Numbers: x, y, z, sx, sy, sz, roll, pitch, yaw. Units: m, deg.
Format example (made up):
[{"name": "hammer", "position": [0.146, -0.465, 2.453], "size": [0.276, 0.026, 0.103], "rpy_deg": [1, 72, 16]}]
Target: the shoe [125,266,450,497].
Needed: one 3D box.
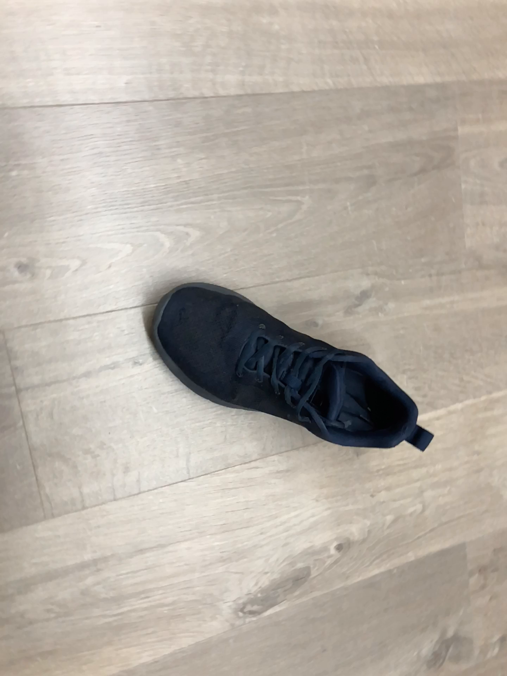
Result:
[{"name": "shoe", "position": [0.034, 0.043, 0.551], "size": [0.291, 0.110, 0.100], "rpy_deg": [27, 88, -22]}]
